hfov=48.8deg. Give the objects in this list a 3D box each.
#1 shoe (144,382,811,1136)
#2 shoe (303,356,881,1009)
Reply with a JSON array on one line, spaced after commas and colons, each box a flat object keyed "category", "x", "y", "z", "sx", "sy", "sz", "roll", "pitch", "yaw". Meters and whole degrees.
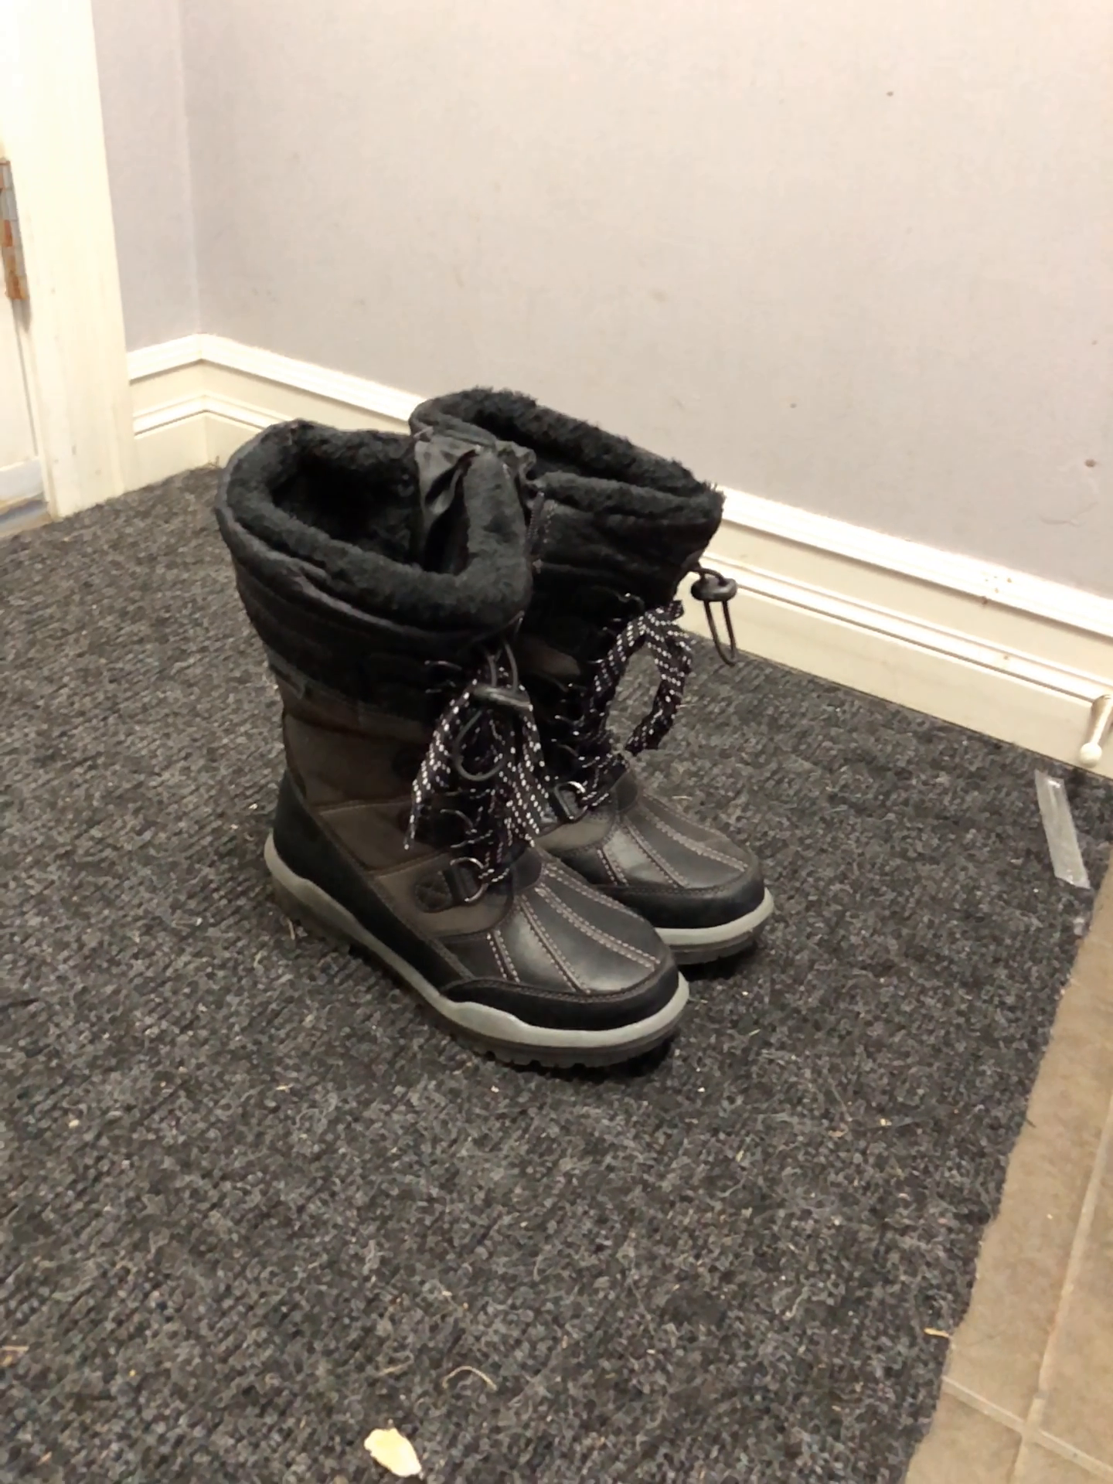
[{"category": "shoe", "x": -0.046, "y": 0.003, "z": 0.586, "sx": 0.260, "sy": 0.269, "sz": 0.110, "roll": 21, "pitch": 36, "yaw": 22}, {"category": "shoe", "x": 0.004, "y": -0.035, "z": 0.660, "sx": 0.260, "sy": 0.269, "sz": 0.100, "roll": 20, "pitch": 36, "yaw": 21}]
